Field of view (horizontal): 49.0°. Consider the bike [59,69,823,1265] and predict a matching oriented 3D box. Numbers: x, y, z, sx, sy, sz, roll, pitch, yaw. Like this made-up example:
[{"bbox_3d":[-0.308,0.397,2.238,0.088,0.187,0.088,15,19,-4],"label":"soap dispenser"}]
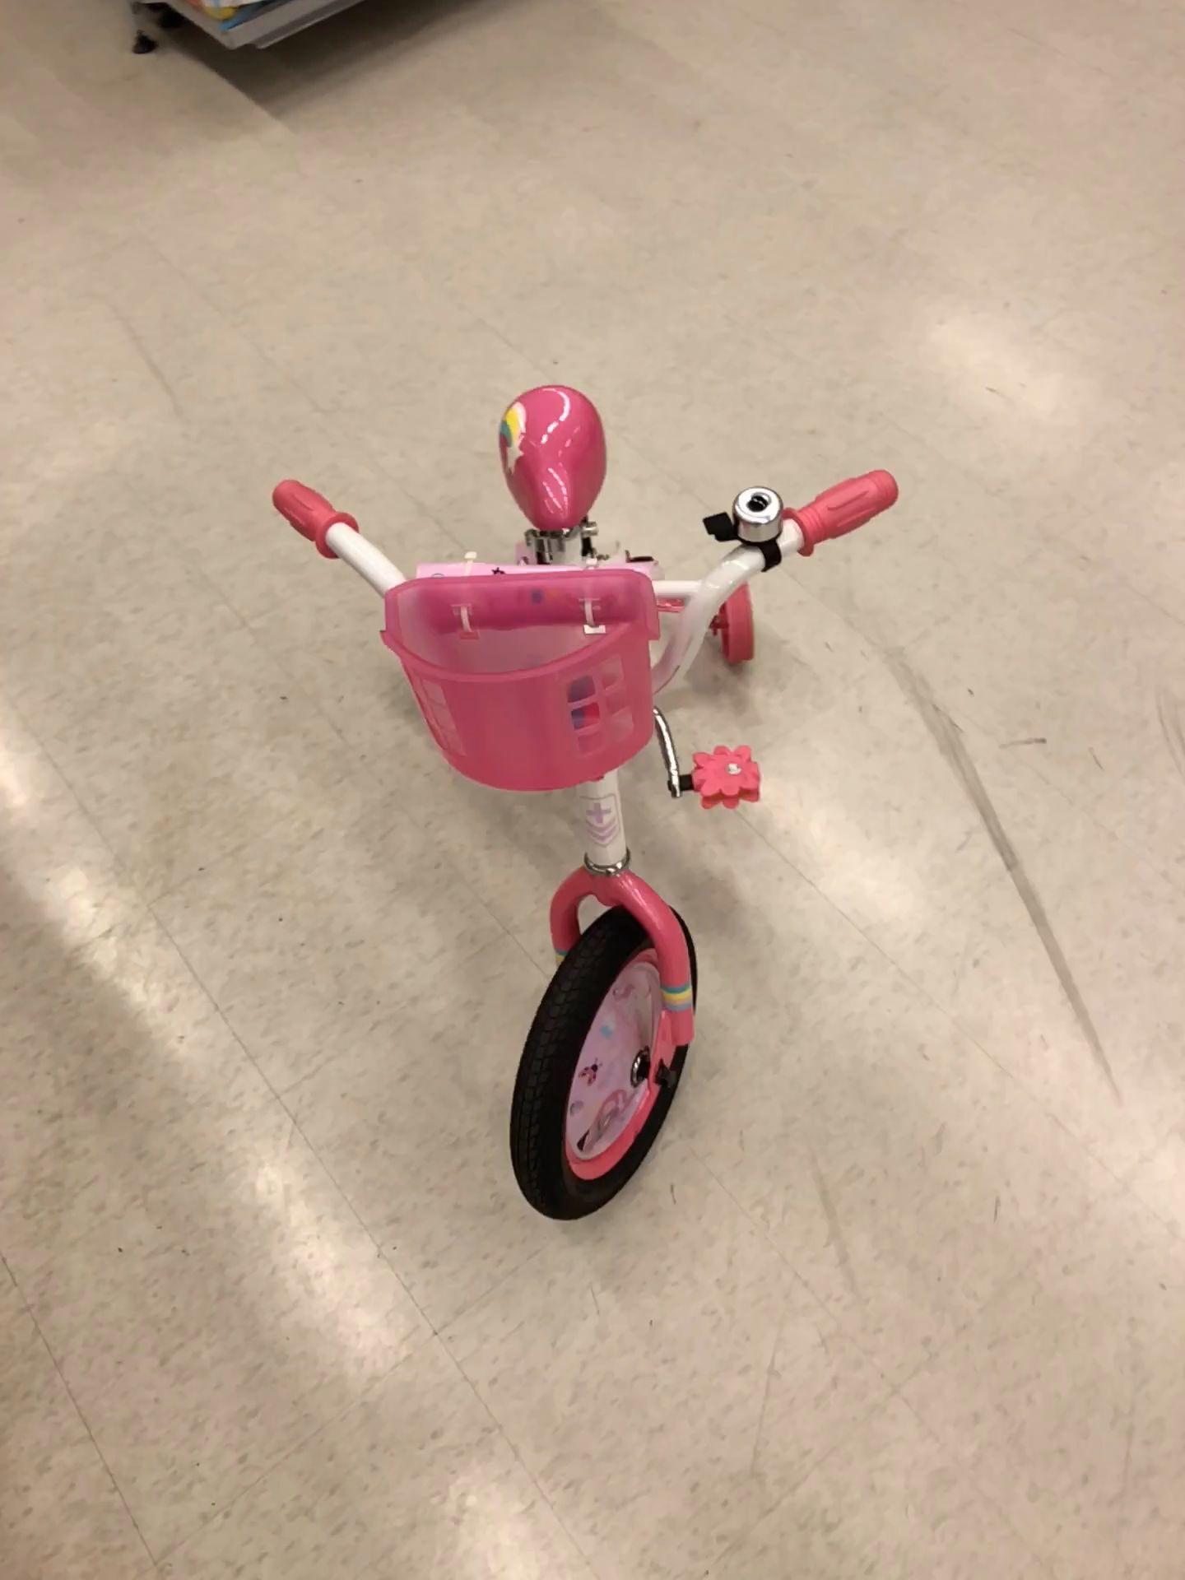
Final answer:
[{"bbox_3d":[-0.058,-0.097,1.259,0.456,0.632,0.882,-2,59,4],"label":"bike"}]
